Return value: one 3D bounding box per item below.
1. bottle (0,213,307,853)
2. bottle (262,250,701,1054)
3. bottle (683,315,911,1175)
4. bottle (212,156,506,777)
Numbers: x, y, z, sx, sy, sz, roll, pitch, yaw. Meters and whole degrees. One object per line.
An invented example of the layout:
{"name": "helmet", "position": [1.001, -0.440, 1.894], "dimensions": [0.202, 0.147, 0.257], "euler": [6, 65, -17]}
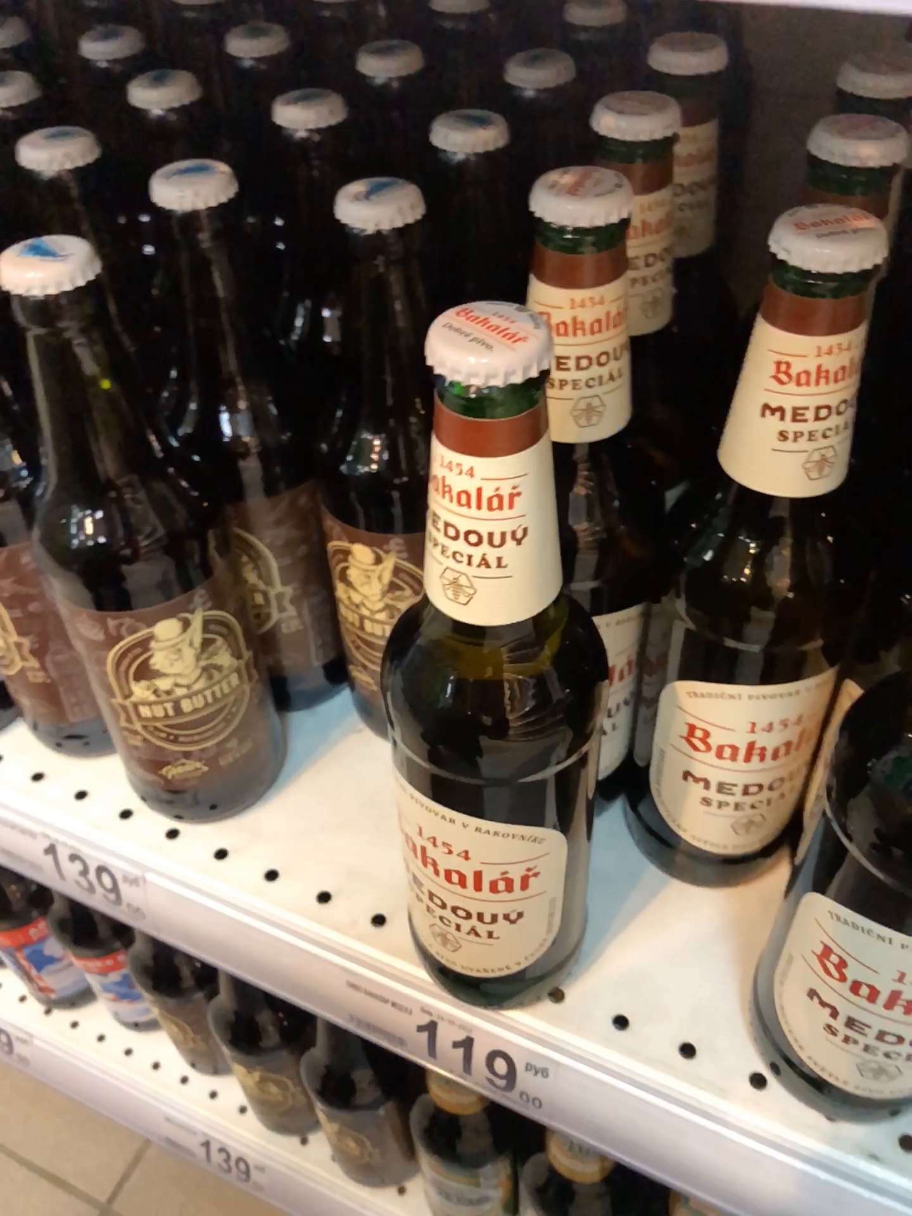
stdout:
{"name": "bottle", "position": [-0.109, -0.011, 0.368], "dimensions": [0.069, 0.233, 0.061], "euler": [-13, 44, -11]}
{"name": "bottle", "position": [0.010, 0.033, 0.304], "dimensions": [0.070, 0.248, 0.066], "euler": [-1, 43, 1]}
{"name": "bottle", "position": [0.117, 0.058, 0.266], "dimensions": [0.065, 0.248, 0.061], "euler": [-1, 43, 1]}
{"name": "bottle", "position": [-0.025, -0.040, 0.391], "dimensions": [0.069, 0.231, 0.061], "euler": [18, 47, 20]}
